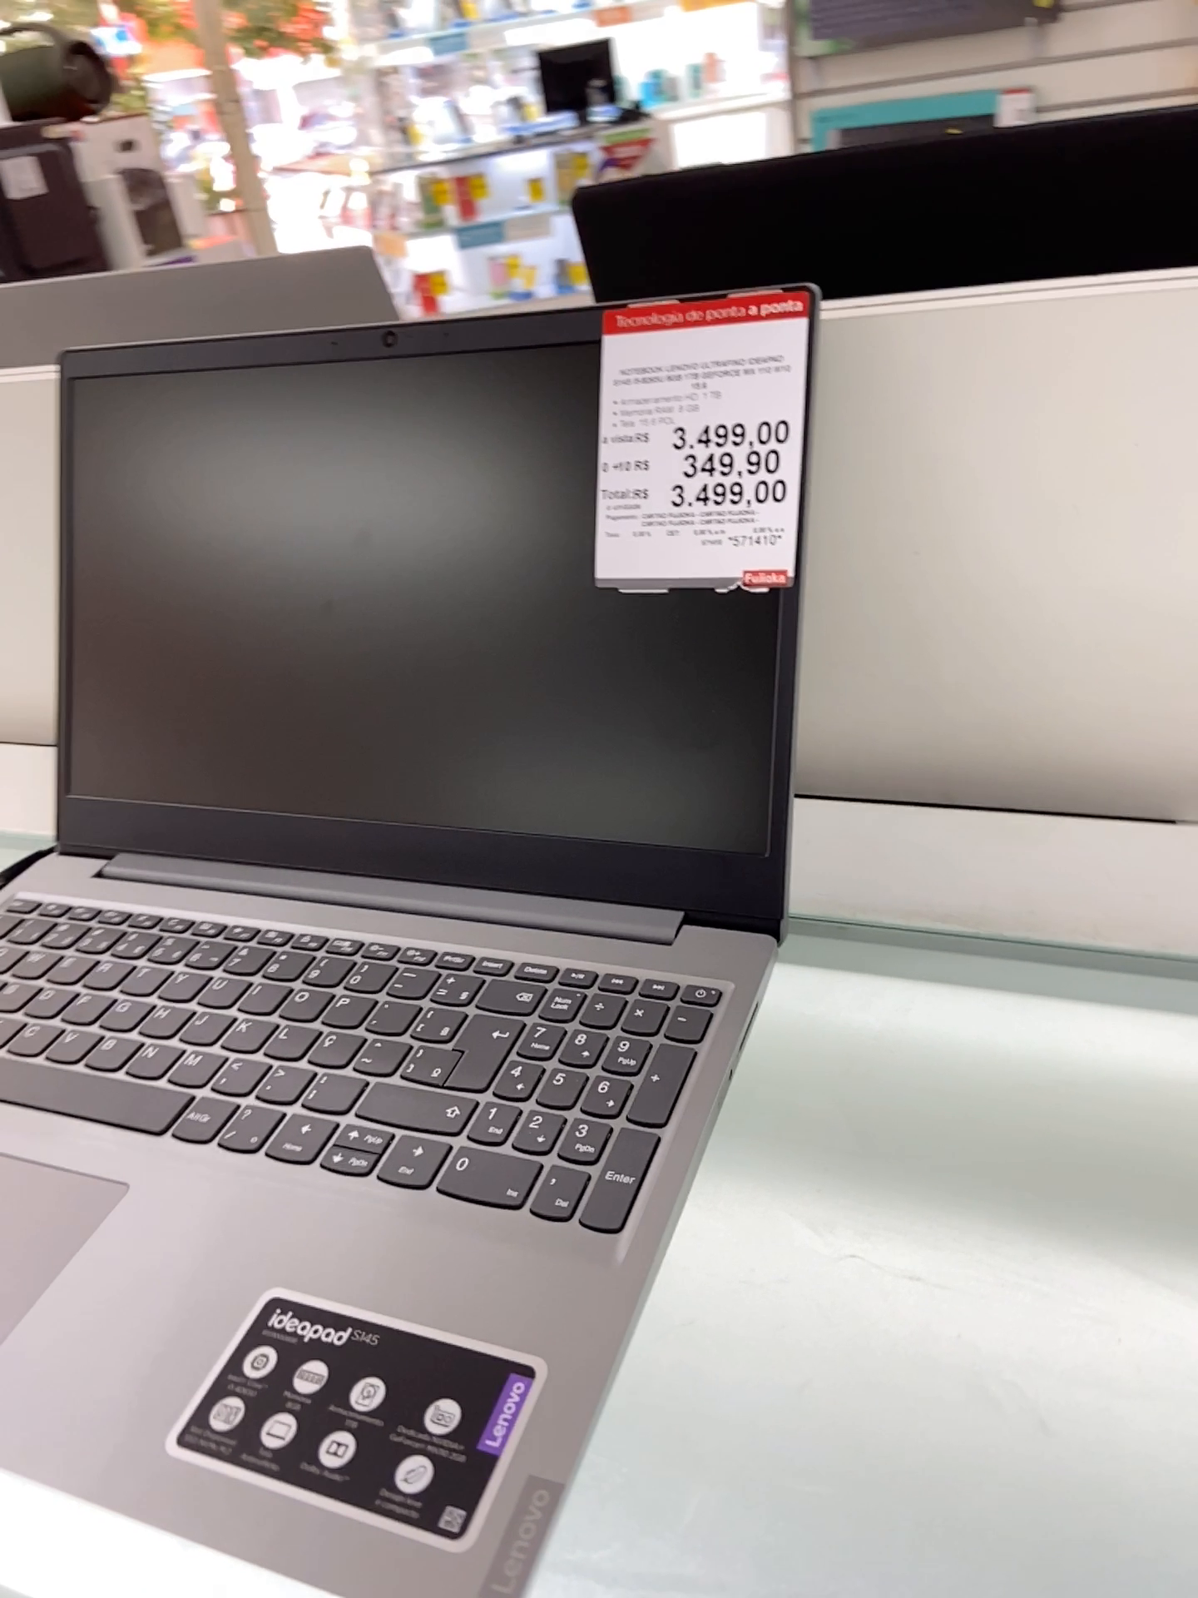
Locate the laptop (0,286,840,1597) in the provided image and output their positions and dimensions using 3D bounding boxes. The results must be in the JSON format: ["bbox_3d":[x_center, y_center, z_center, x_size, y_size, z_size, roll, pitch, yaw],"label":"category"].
[{"bbox_3d":[-0.138,-0.014,0.423,0.359,0.201,0.367,4,34,22],"label":"laptop"}]
